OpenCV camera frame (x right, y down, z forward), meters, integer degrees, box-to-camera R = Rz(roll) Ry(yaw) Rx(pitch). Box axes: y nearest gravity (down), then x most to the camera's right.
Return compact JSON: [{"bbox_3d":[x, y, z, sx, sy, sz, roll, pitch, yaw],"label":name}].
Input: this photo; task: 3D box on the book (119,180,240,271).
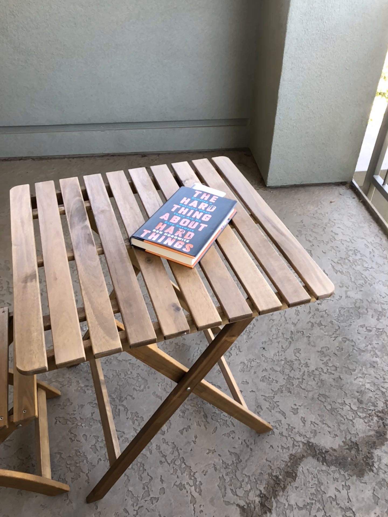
[{"bbox_3d":[-0.026,-0.087,0.983,0.180,0.040,0.241,19,44,21],"label":"book"}]
